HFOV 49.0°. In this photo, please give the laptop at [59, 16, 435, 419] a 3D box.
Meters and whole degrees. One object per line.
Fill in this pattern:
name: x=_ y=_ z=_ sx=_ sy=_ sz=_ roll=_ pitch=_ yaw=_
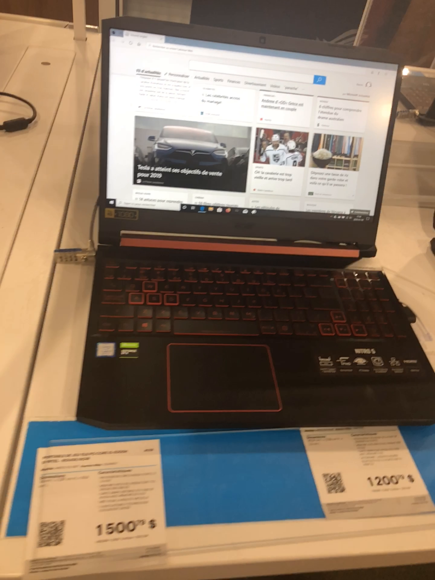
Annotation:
laptop: x=0.055 y=-0.088 z=0.494 sx=0.357 sy=0.211 sz=0.360 roll=2 pitch=44 yaw=-10
